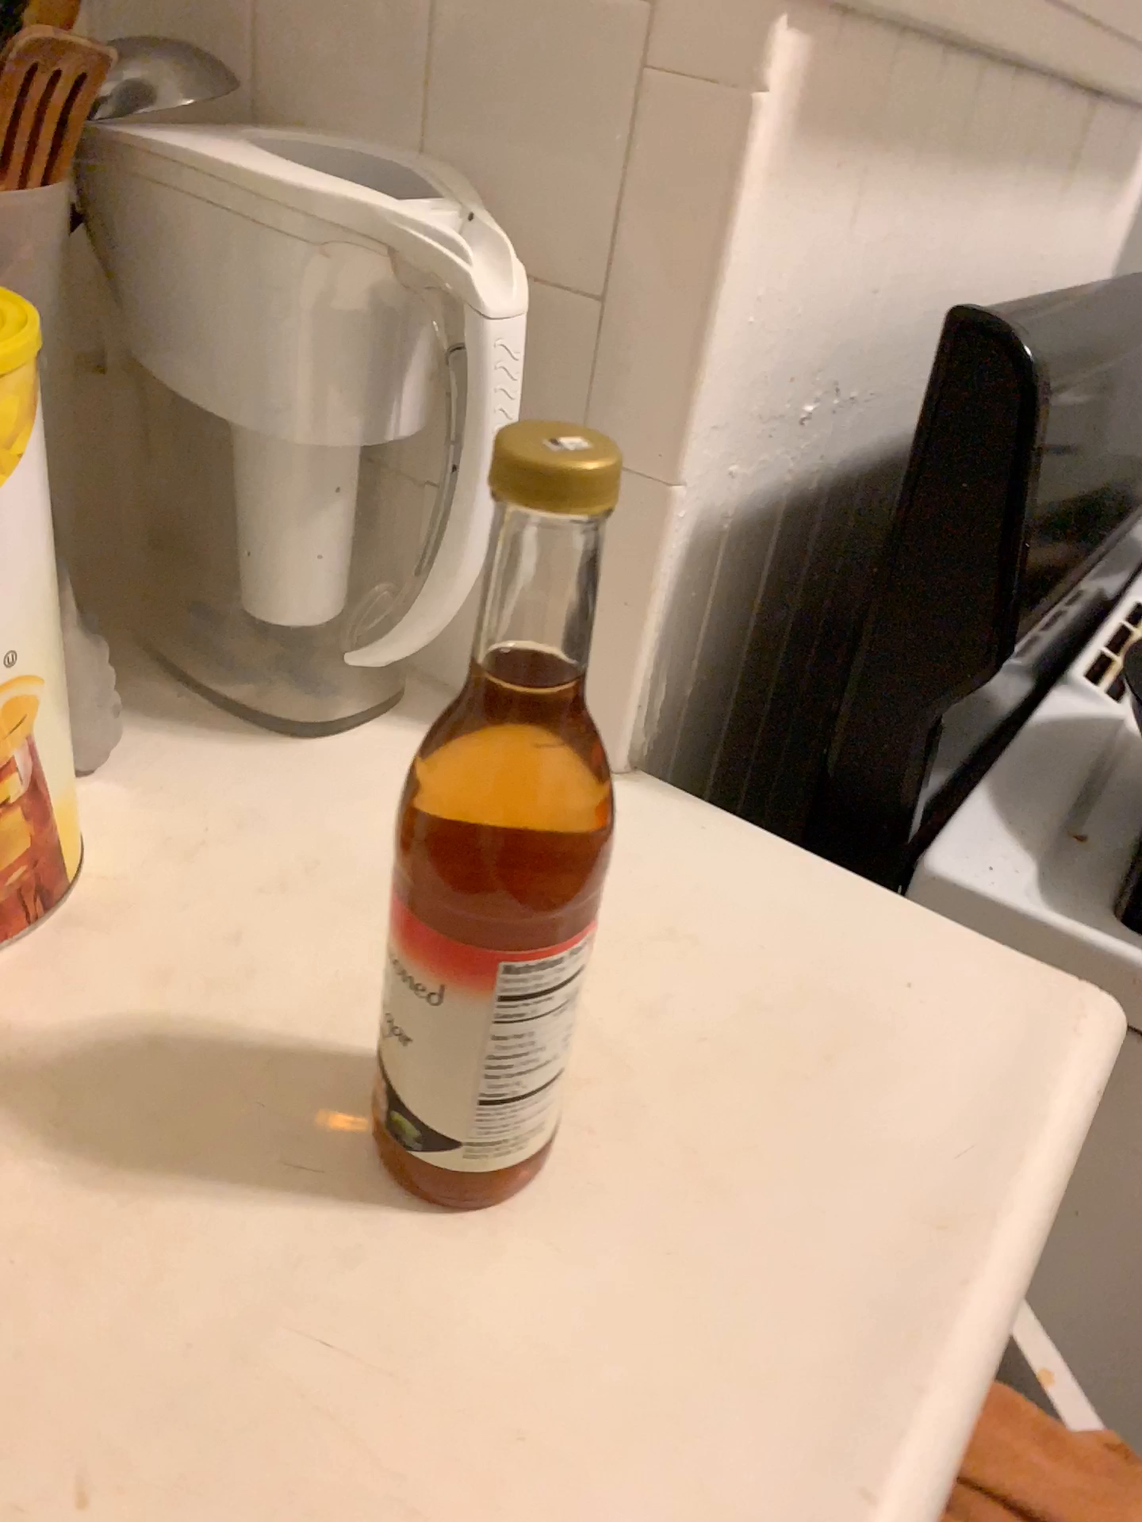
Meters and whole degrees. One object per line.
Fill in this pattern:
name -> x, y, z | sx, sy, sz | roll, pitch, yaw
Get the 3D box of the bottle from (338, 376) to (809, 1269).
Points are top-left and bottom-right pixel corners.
bottle -> -0.014, 0.025, 0.324 | 0.070, 0.239, 0.070 | 7, 32, -5
